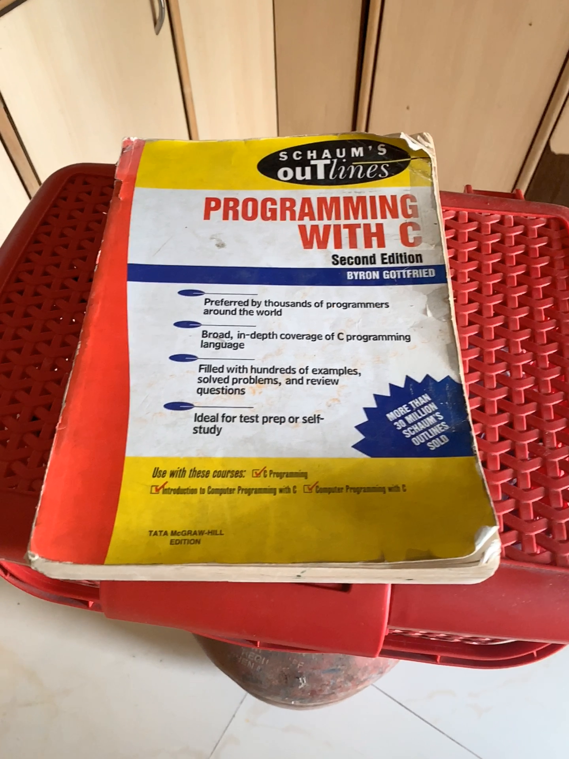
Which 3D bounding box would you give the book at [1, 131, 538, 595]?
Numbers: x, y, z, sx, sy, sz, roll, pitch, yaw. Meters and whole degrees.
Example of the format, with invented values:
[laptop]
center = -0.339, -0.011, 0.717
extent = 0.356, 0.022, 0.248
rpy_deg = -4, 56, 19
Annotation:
[book]
center = -0.003, -0.027, 0.304
extent = 0.200, 0.050, 0.251
rpy_deg = 1, 59, 2
